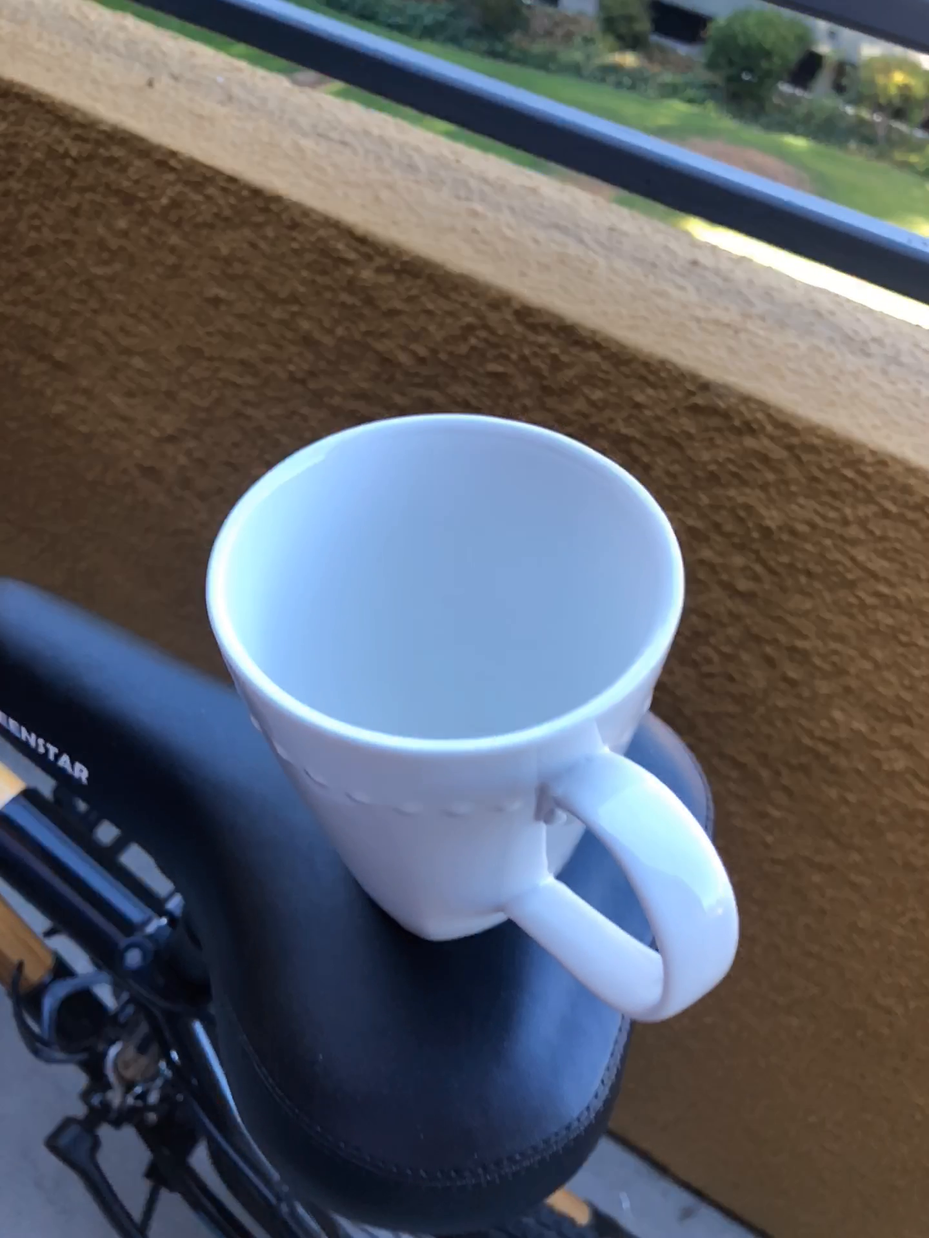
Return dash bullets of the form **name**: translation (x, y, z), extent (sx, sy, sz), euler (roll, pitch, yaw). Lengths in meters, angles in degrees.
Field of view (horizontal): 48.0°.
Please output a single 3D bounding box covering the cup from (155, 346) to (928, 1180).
- **cup**: translation (0.009, 0.026, 0.236), extent (0.090, 0.100, 0.130), euler (-30, 58, -30)
